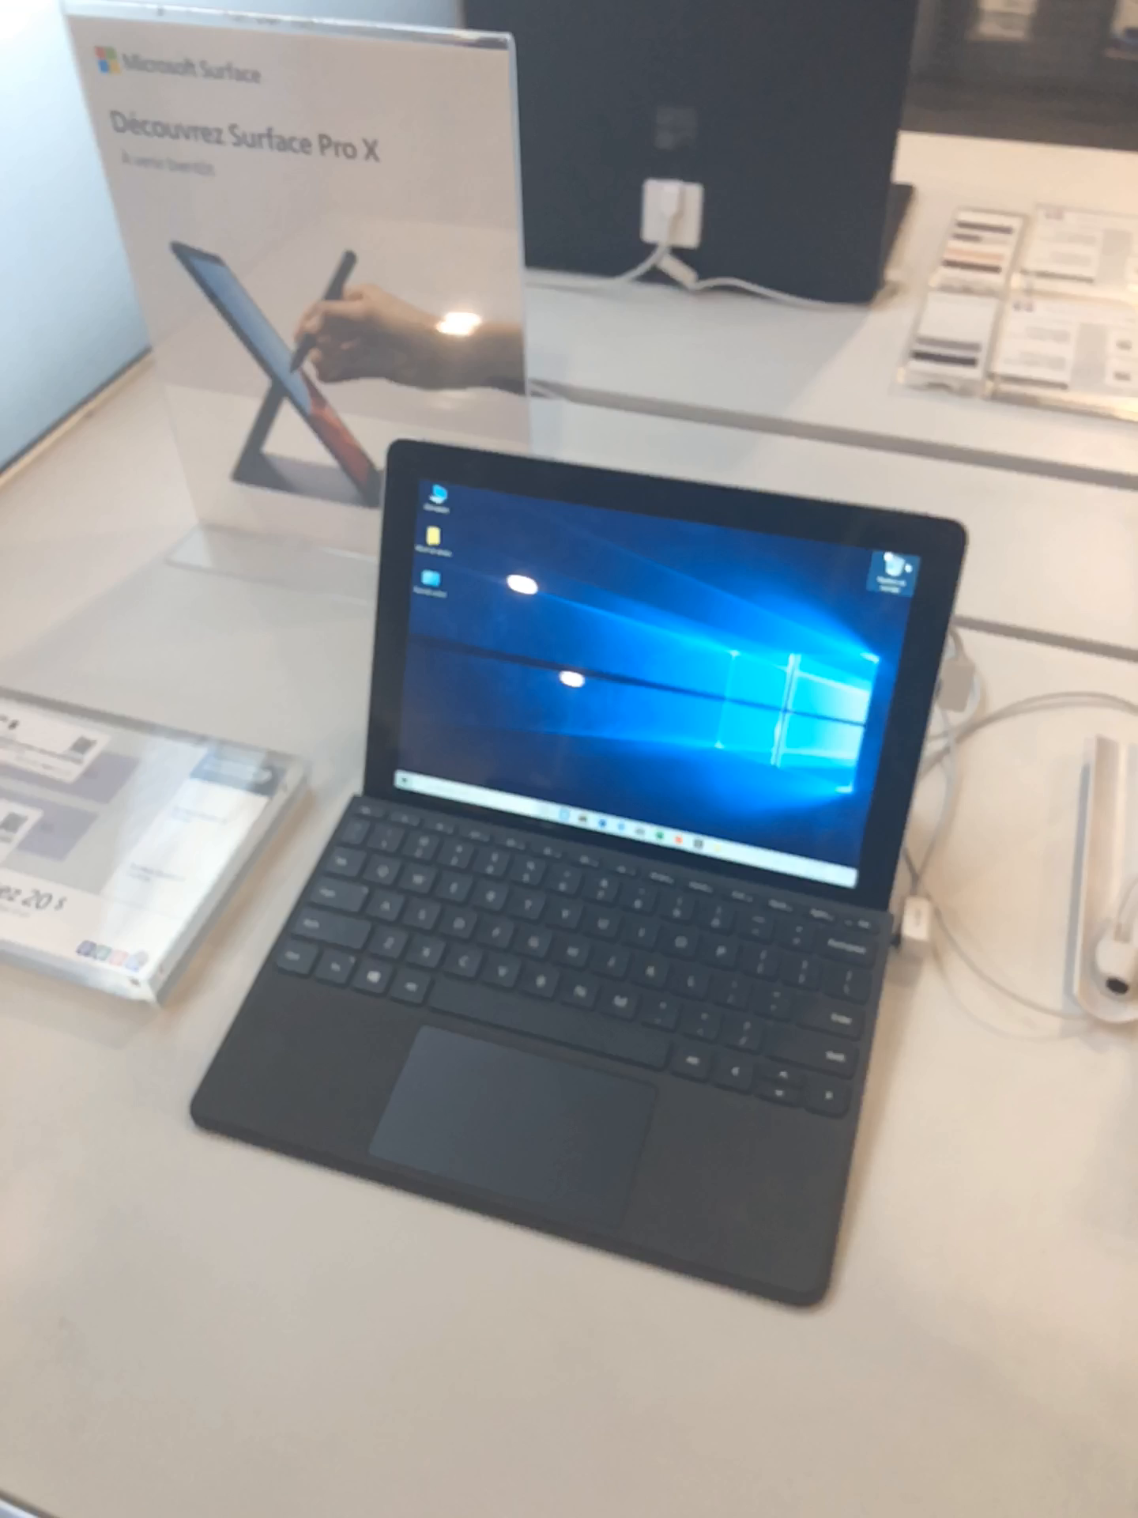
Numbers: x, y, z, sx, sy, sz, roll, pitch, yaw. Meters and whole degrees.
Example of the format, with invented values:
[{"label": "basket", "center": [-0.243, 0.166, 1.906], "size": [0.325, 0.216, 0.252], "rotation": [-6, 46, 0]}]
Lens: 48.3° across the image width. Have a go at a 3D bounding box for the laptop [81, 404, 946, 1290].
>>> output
[{"label": "laptop", "center": [0.001, 0.015, 0.487], "size": [0.236, 0.140, 0.251], "rotation": [11, 50, 12]}]
